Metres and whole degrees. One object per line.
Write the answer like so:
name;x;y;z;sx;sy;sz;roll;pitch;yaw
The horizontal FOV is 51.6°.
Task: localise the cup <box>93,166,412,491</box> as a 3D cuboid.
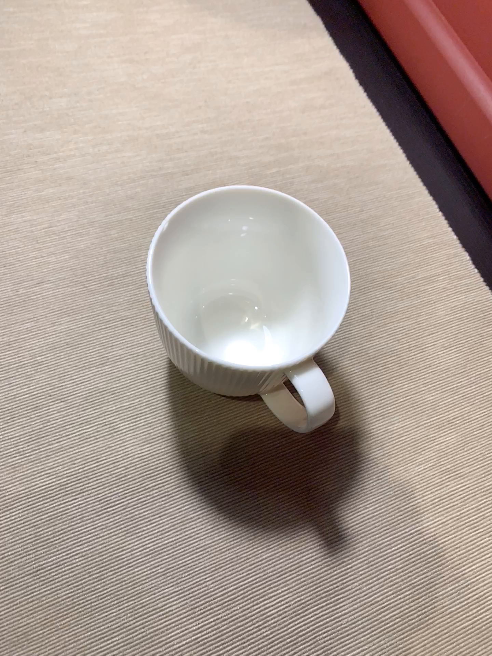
cup;-0.002;-0.001;0.235;0.090;0.060;0.110;-23;71;-17
